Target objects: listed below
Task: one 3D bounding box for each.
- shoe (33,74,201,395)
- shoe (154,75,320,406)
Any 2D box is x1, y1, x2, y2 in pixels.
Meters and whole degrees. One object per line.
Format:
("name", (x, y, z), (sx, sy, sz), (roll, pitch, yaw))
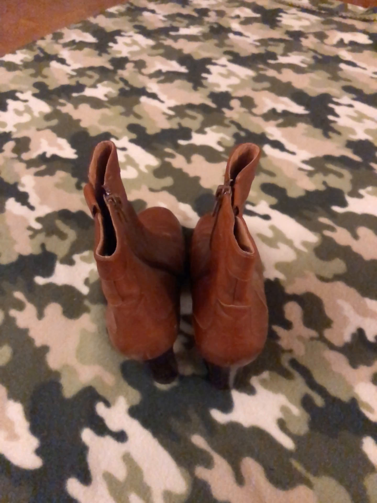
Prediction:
("shoe", (-0.040, -0.017, 0.383), (0.090, 0.189, 0.221), (-3, 48, 2))
("shoe", (0.035, -0.011, 0.370), (0.090, 0.189, 0.221), (-1, 48, 4))
